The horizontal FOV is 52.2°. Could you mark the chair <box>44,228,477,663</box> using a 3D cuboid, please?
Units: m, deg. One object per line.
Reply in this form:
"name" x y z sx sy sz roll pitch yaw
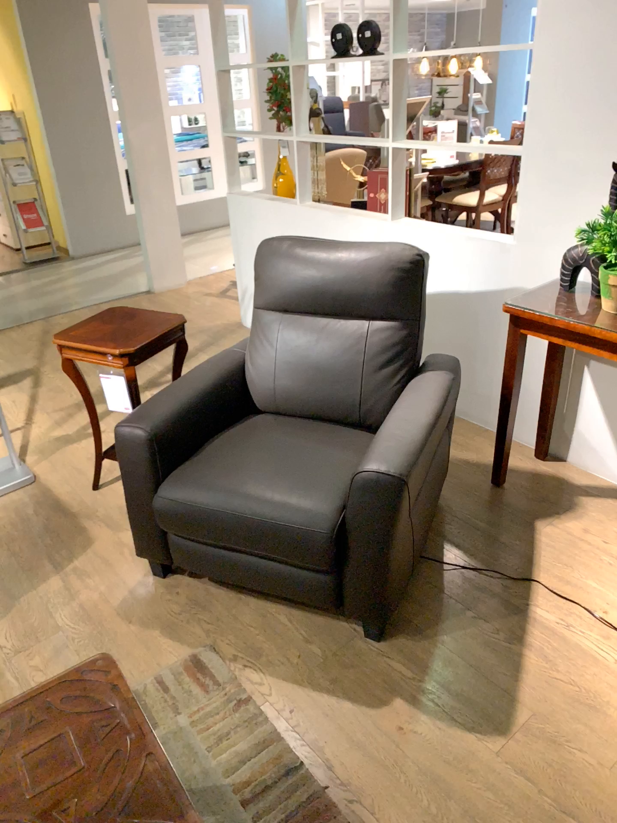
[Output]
"chair" -0.048 -0.002 2.039 0.941 0.926 0.923 9 31 22
